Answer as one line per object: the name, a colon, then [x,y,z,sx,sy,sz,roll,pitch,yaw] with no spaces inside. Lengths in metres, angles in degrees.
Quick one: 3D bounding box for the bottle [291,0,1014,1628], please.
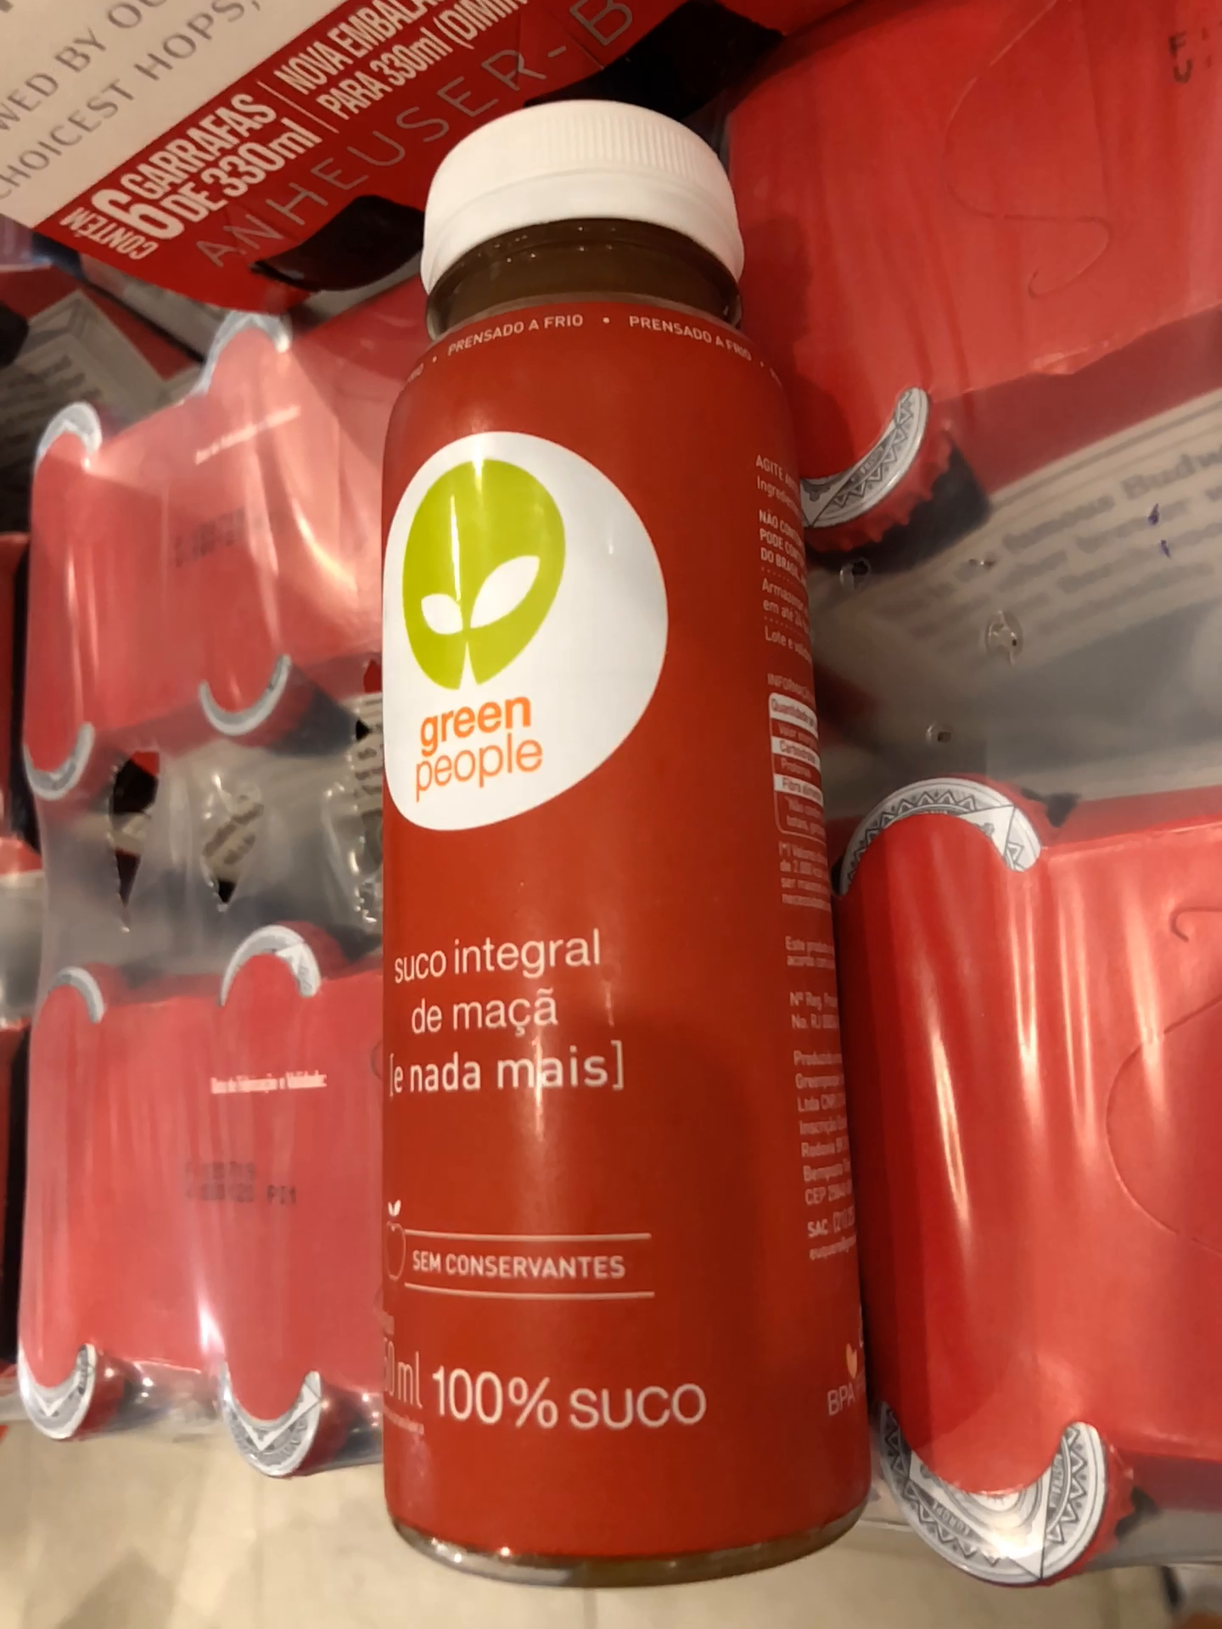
bottle: [0.000,-0.015,0.156,0.060,0.040,0.180,-11,77,37]
